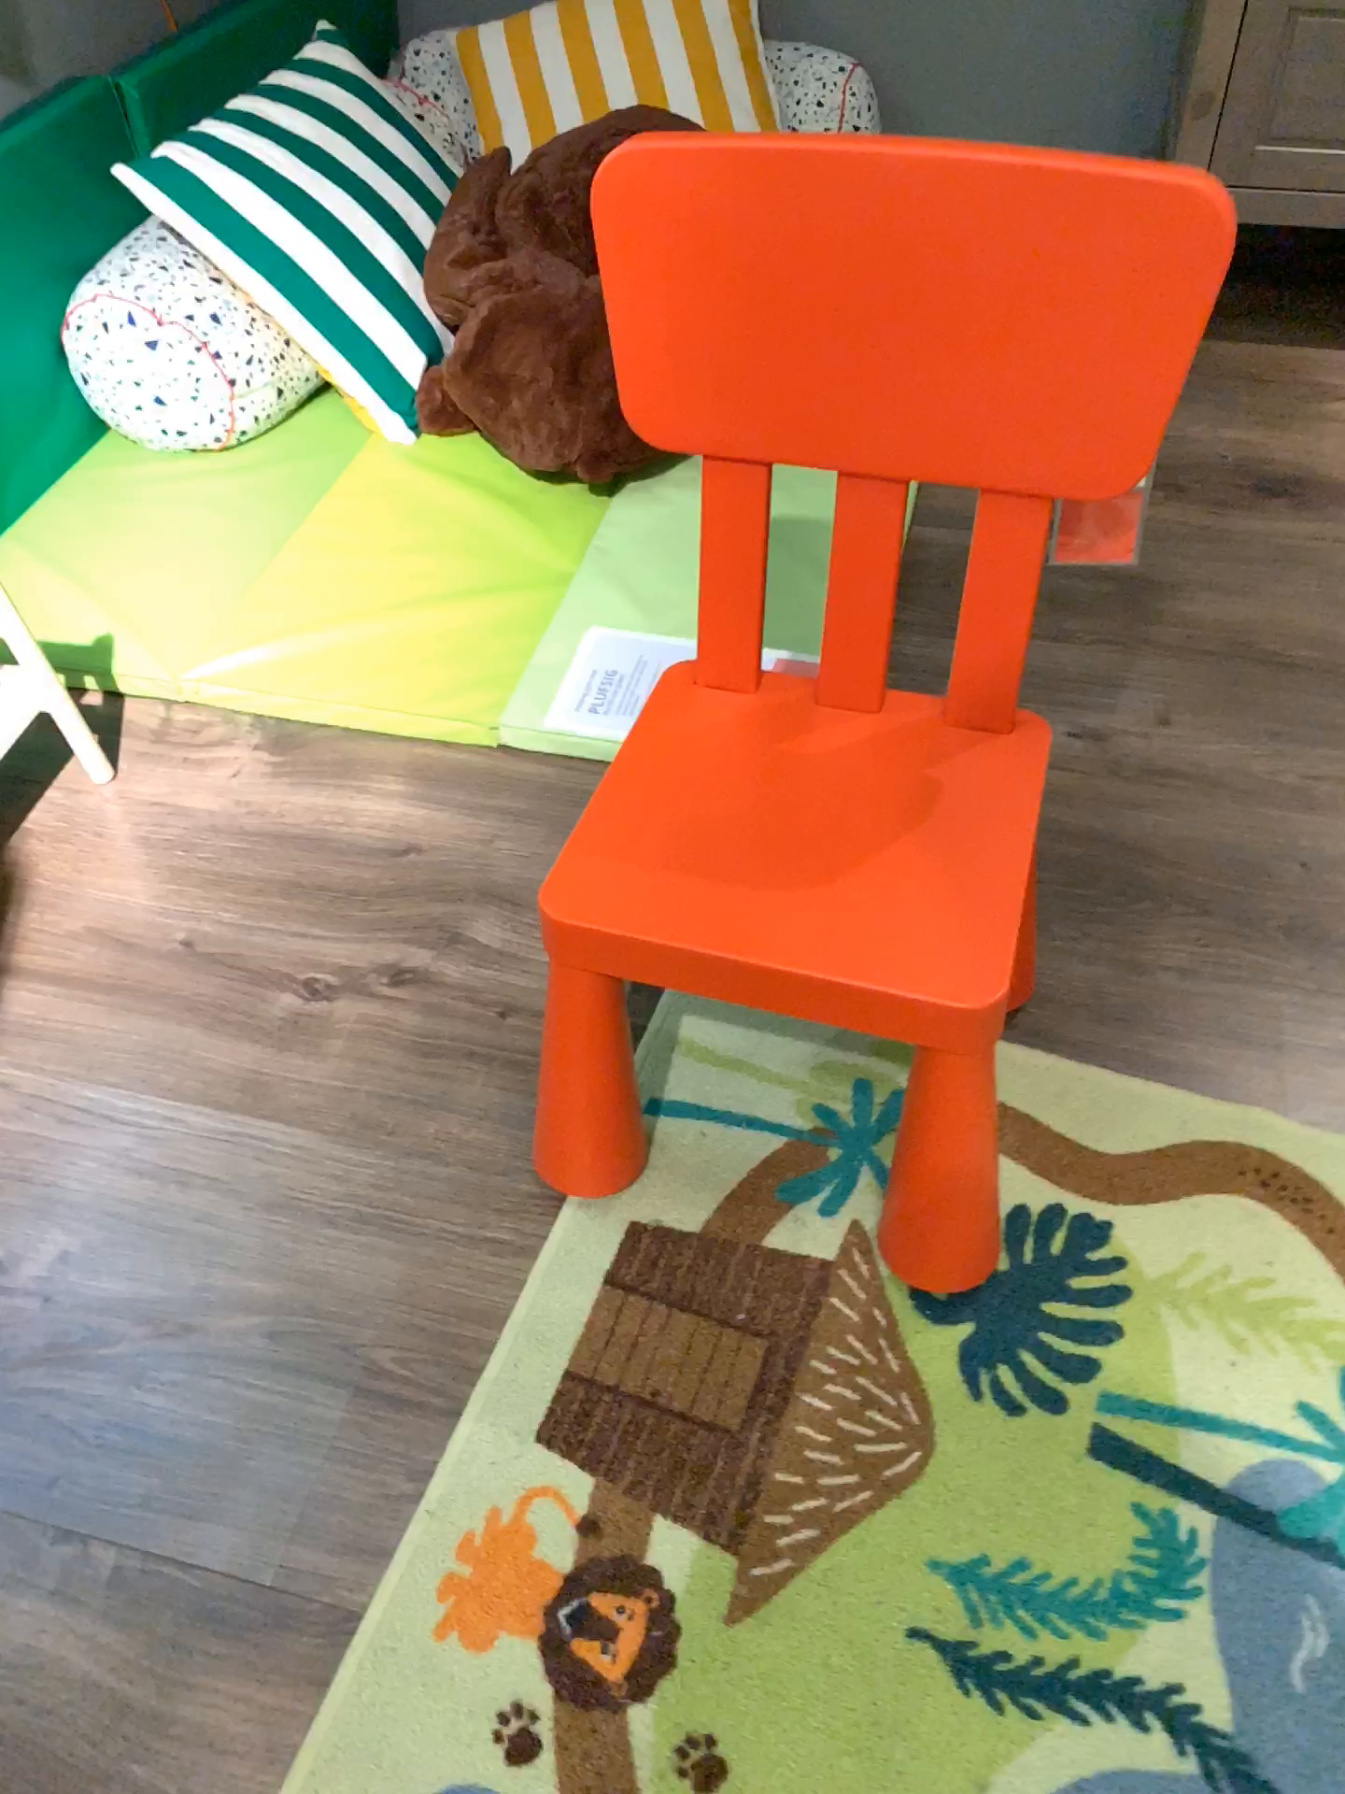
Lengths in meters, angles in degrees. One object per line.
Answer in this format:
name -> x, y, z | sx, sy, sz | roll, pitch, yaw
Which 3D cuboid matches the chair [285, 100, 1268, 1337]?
chair -> 0.099, -0.109, 0.910 | 0.380, 0.597, 0.462 | 13, 49, 15
